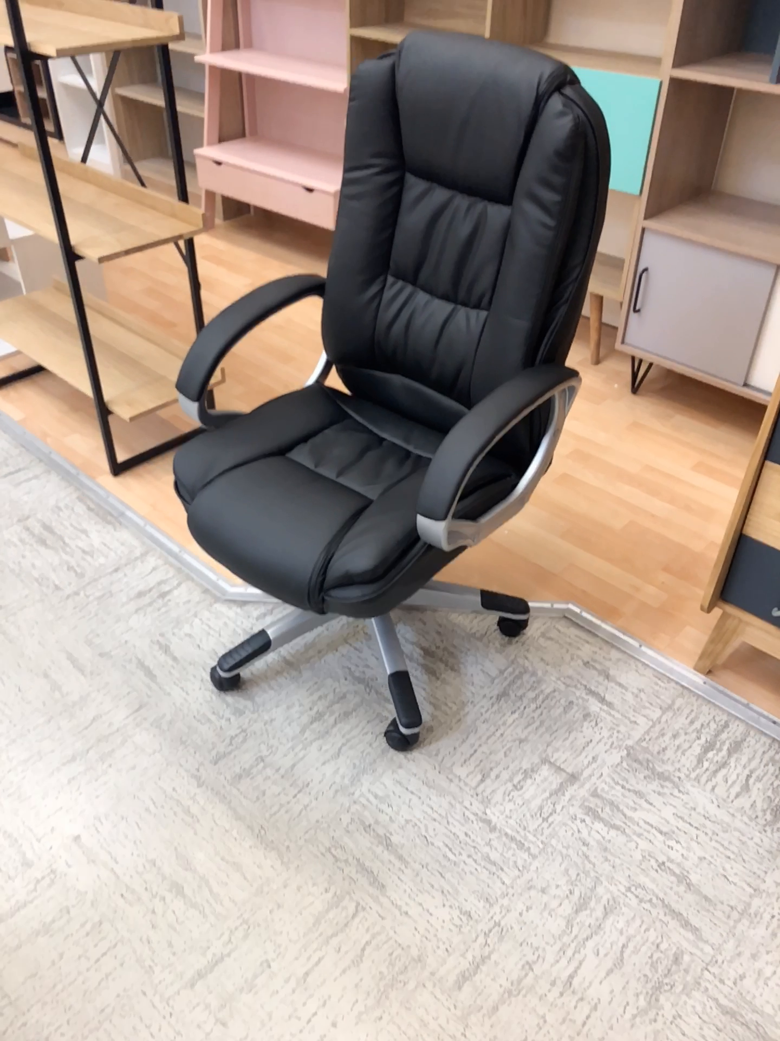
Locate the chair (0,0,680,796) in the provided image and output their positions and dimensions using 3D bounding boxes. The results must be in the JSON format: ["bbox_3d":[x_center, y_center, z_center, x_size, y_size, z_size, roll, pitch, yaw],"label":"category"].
[{"bbox_3d":[-0.106,-0.287,1.472,0.760,1.063,0.684,24,41,29],"label":"chair"}]
